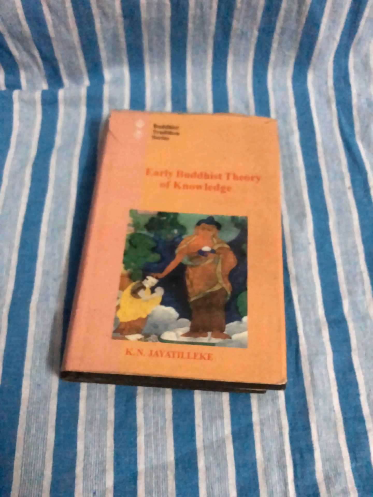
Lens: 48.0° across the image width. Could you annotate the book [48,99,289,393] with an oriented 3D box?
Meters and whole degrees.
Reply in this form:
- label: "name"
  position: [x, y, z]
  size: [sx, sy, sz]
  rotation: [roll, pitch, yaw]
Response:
- label: "book"
  position: [-0.005, -0.012, 0.317]
  size: [0.150, 0.030, 0.220]
  rotation: [4, 67, -1]
